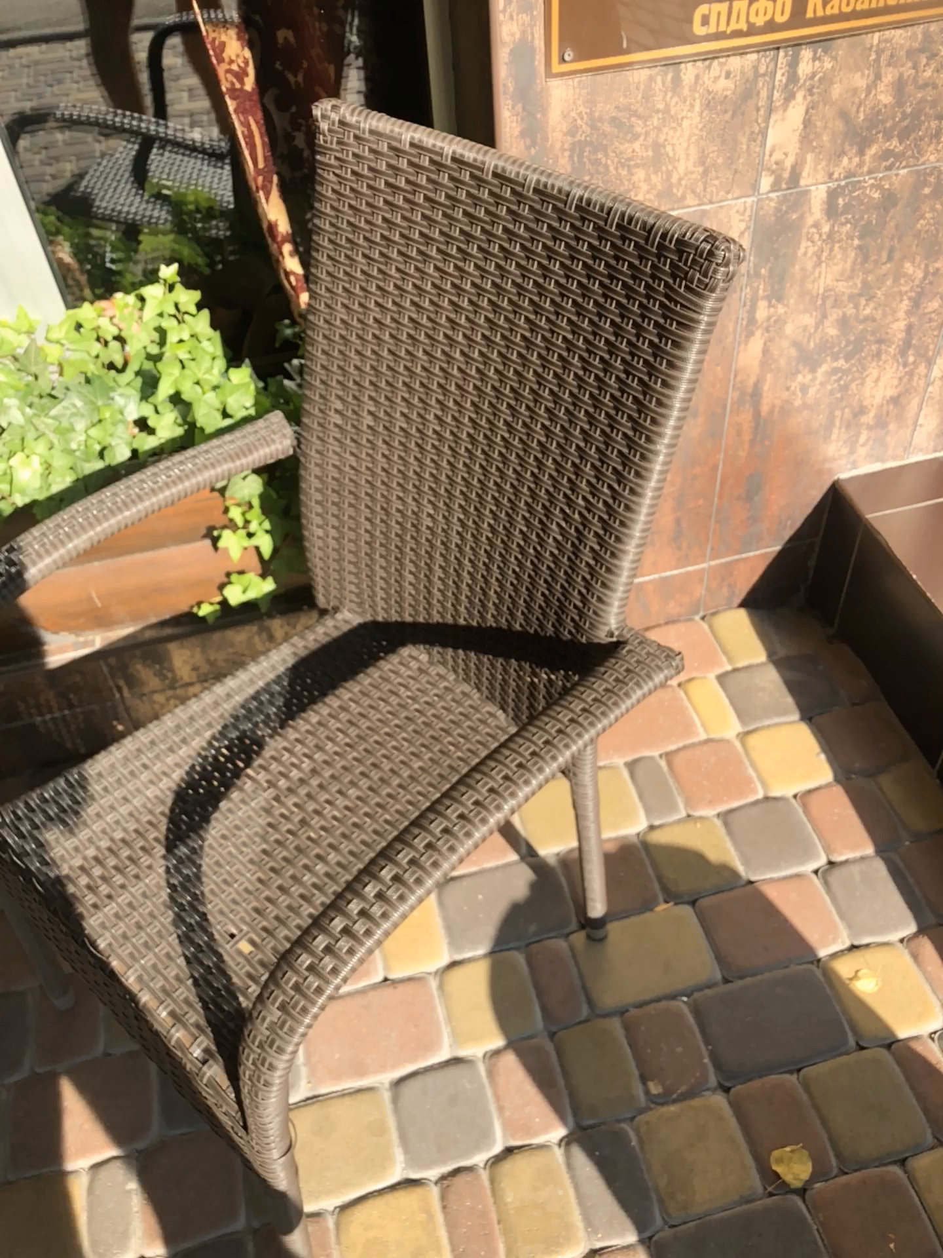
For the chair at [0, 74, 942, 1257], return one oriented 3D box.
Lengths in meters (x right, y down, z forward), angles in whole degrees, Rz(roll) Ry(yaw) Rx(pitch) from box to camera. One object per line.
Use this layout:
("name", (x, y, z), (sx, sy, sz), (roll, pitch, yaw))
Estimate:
("chair", (-0.093, 0.106, 1.038), (0.611, 0.906, 0.721), (34, 57, 31))
